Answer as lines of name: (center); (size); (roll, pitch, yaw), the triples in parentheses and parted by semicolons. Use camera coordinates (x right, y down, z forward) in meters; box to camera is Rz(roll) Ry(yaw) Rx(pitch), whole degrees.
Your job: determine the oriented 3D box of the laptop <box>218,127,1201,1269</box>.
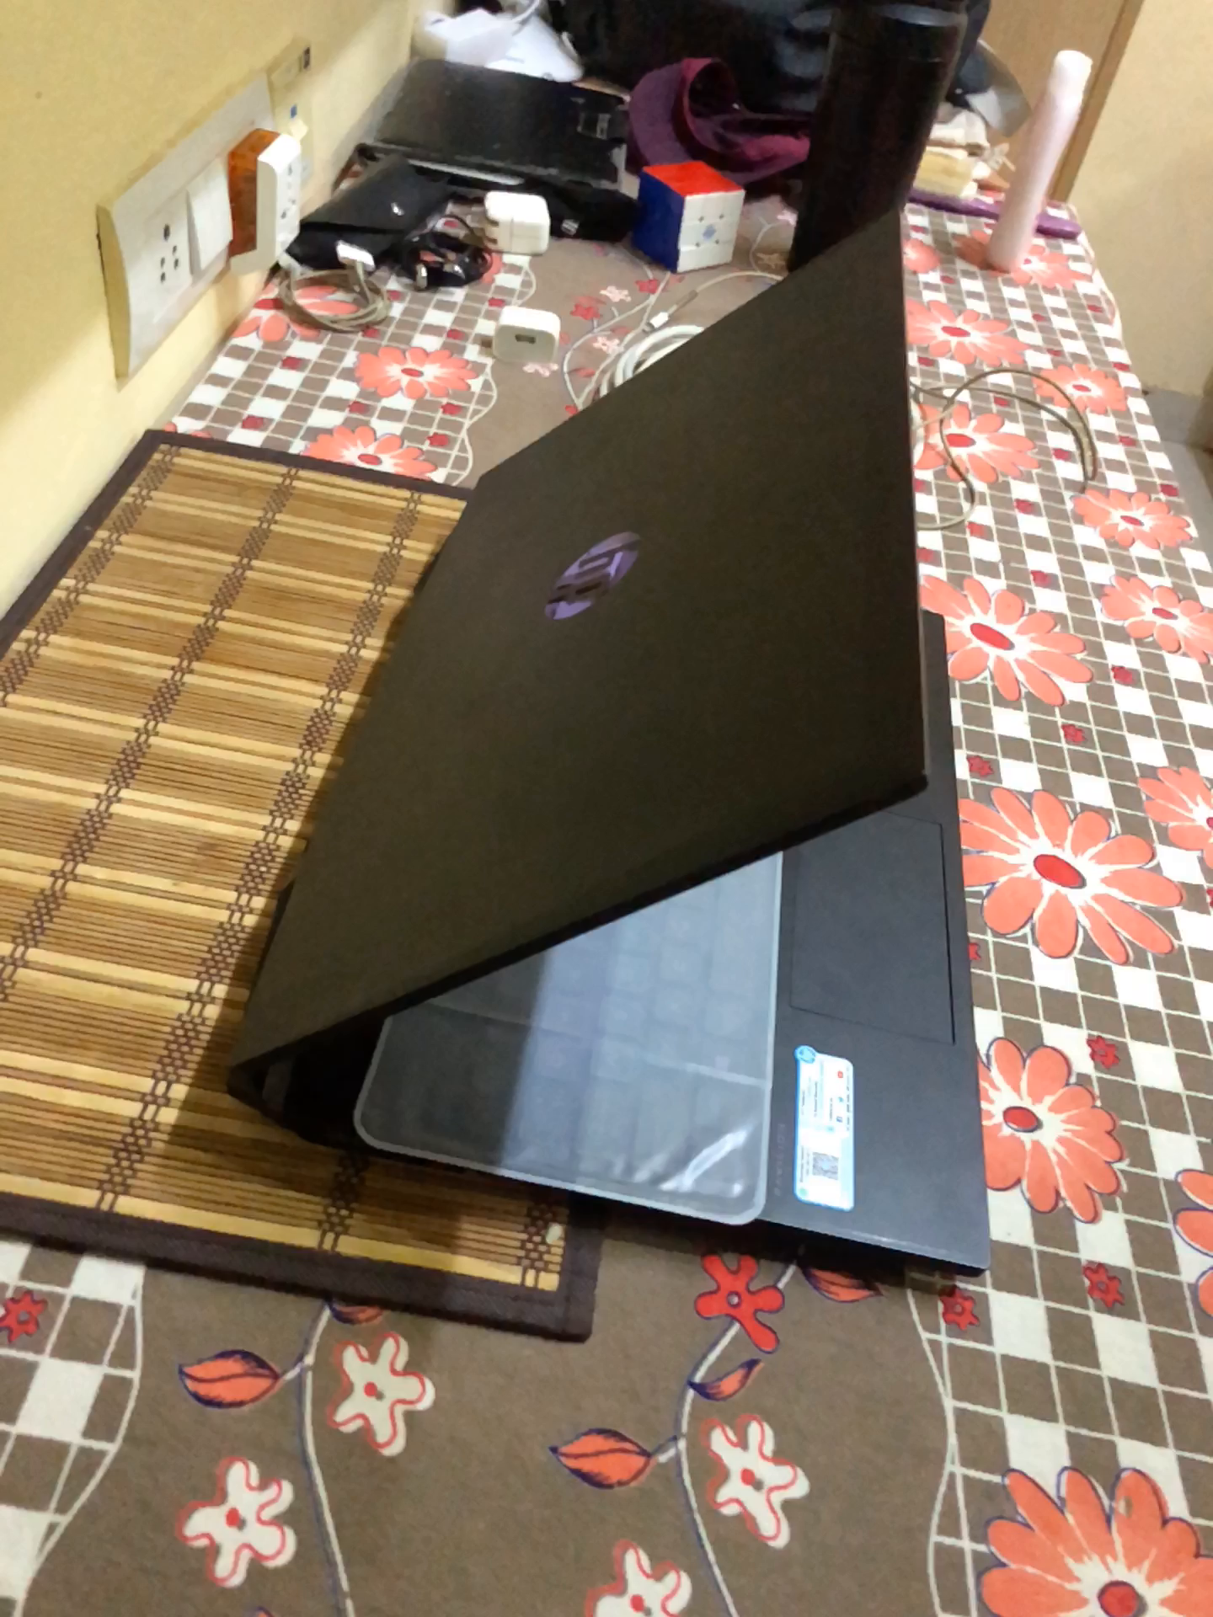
laptop: (0.044, -0.066, 0.489); (0.236, 0.164, 0.358); (15, 45, -2)
